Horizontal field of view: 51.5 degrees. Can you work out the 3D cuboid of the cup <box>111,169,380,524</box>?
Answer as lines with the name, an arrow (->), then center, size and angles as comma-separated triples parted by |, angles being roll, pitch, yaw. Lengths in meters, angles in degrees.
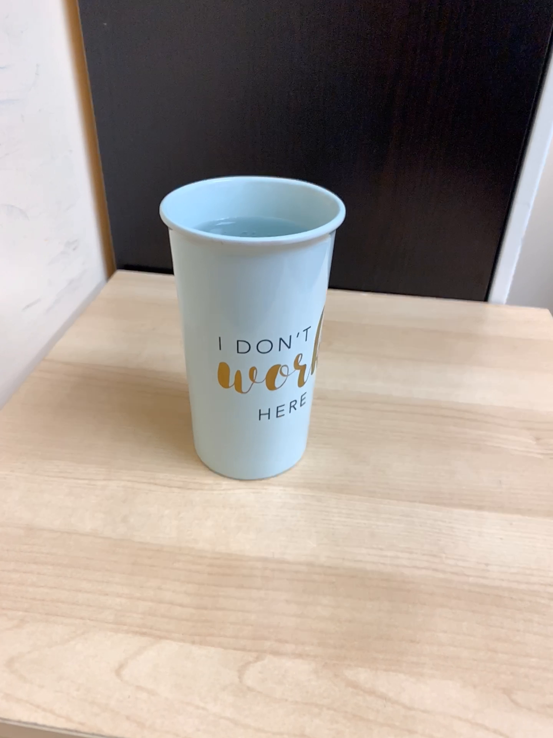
cup -> -0.015, -0.017, 0.329 | 0.090, 0.155, 0.100 | 26, 41, 31
